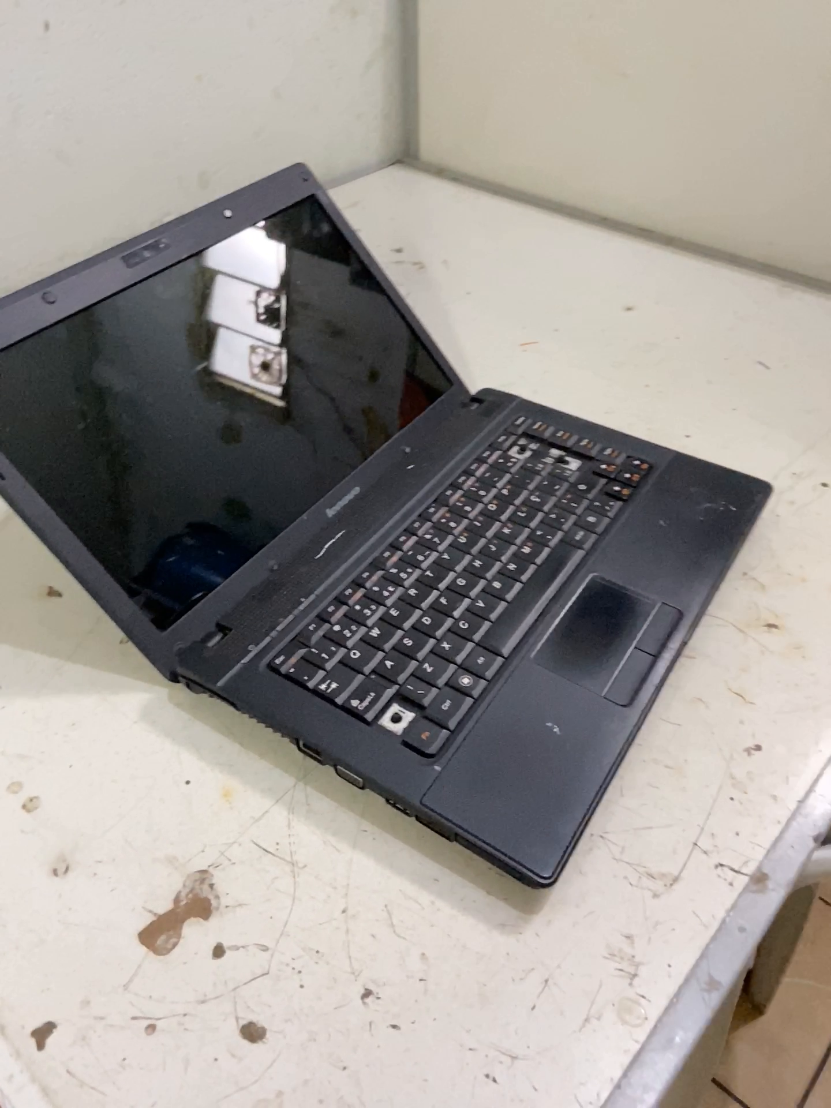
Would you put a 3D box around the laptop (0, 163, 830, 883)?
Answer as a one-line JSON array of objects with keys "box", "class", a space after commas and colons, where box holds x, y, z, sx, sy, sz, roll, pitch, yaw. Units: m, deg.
[{"box": [-0.017, -0.083, 0.540, 0.422, 0.147, 0.359, 24, 47, 25], "class": "laptop"}]
